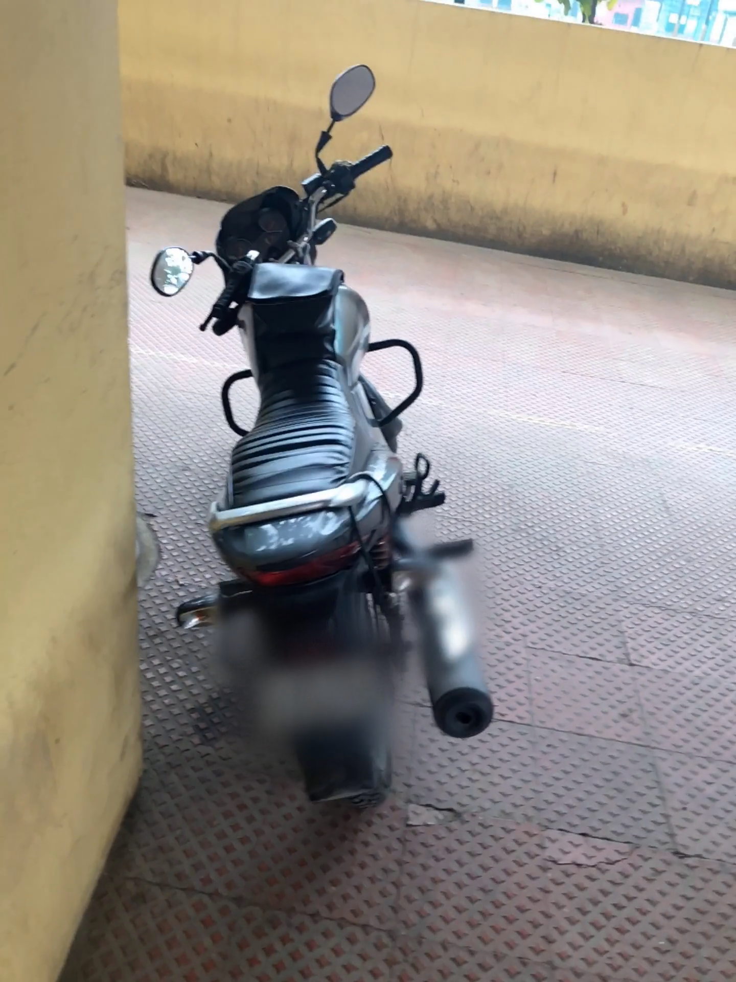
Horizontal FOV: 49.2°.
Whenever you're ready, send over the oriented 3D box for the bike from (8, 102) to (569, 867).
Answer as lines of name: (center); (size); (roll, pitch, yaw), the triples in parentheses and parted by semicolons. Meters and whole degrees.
bike: (-0.279, -0.133, 1.945); (0.720, 1.166, 1.476); (2, 33, -11)
